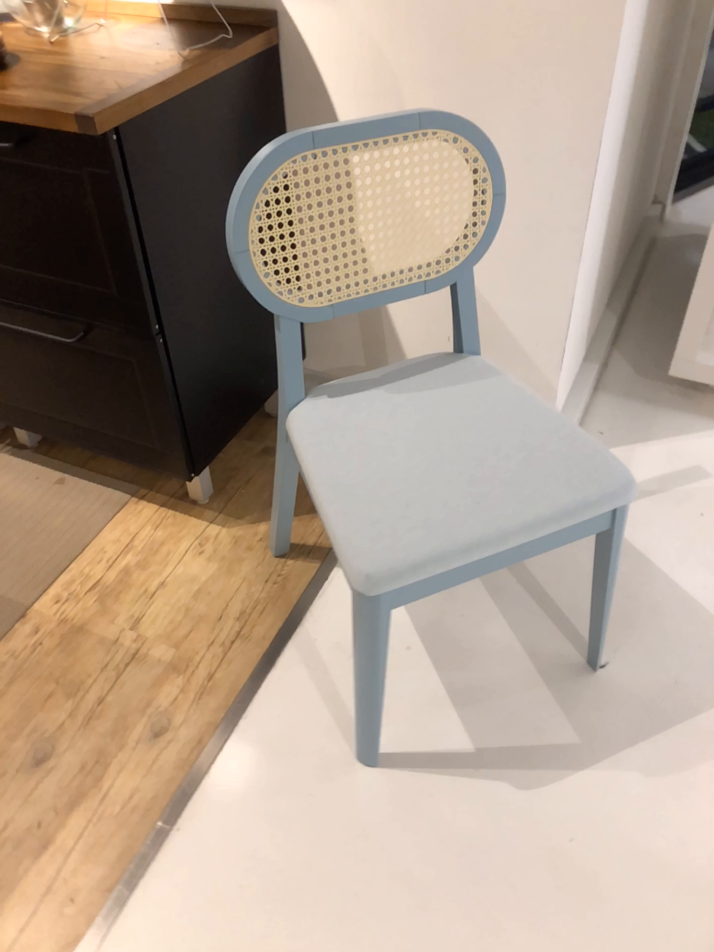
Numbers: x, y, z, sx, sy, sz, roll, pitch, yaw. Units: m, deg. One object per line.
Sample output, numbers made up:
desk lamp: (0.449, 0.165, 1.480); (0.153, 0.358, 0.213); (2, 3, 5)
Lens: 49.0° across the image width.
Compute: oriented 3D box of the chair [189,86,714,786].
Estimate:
chair: (0.111, -0.056, 1.224); (0.481, 0.824, 0.564); (-17, 44, -16)
